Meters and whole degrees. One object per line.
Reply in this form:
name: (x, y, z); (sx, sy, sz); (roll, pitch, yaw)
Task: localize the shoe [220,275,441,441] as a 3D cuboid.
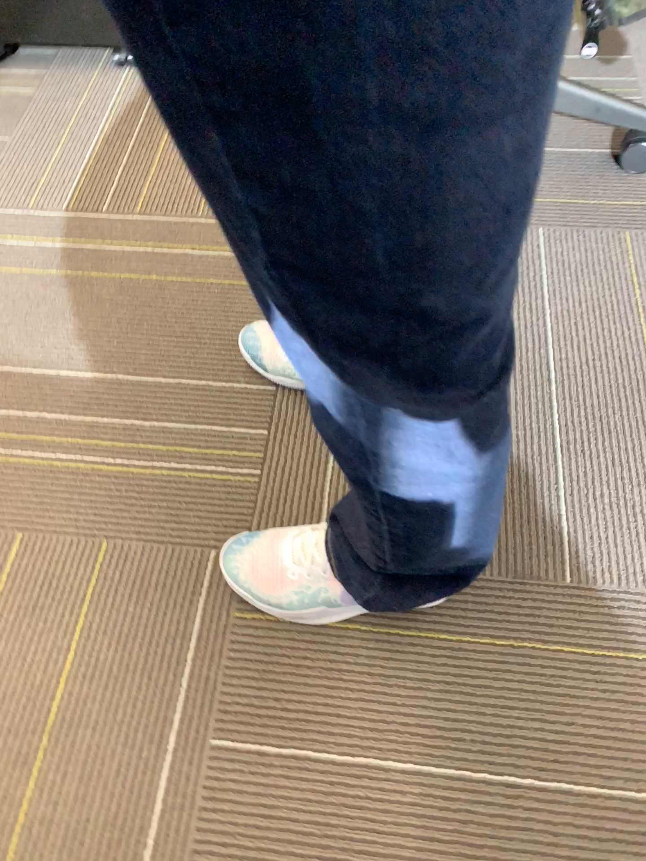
shoe: (0.010, -0.107, 0.939); (0.283, 0.088, 0.118); (24, 63, 18)

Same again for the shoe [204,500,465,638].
shoe: (0.018, 0.164, 0.788); (0.289, 0.078, 0.123); (3, 58, 6)
